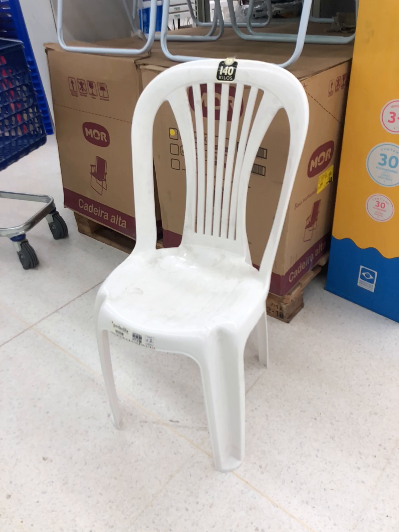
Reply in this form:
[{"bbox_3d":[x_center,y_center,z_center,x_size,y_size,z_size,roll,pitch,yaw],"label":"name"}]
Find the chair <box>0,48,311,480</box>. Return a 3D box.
[{"bbox_3d":[-0.035,-0.016,1.027,0.441,0.834,0.463,10,36,22],"label":"chair"}]
